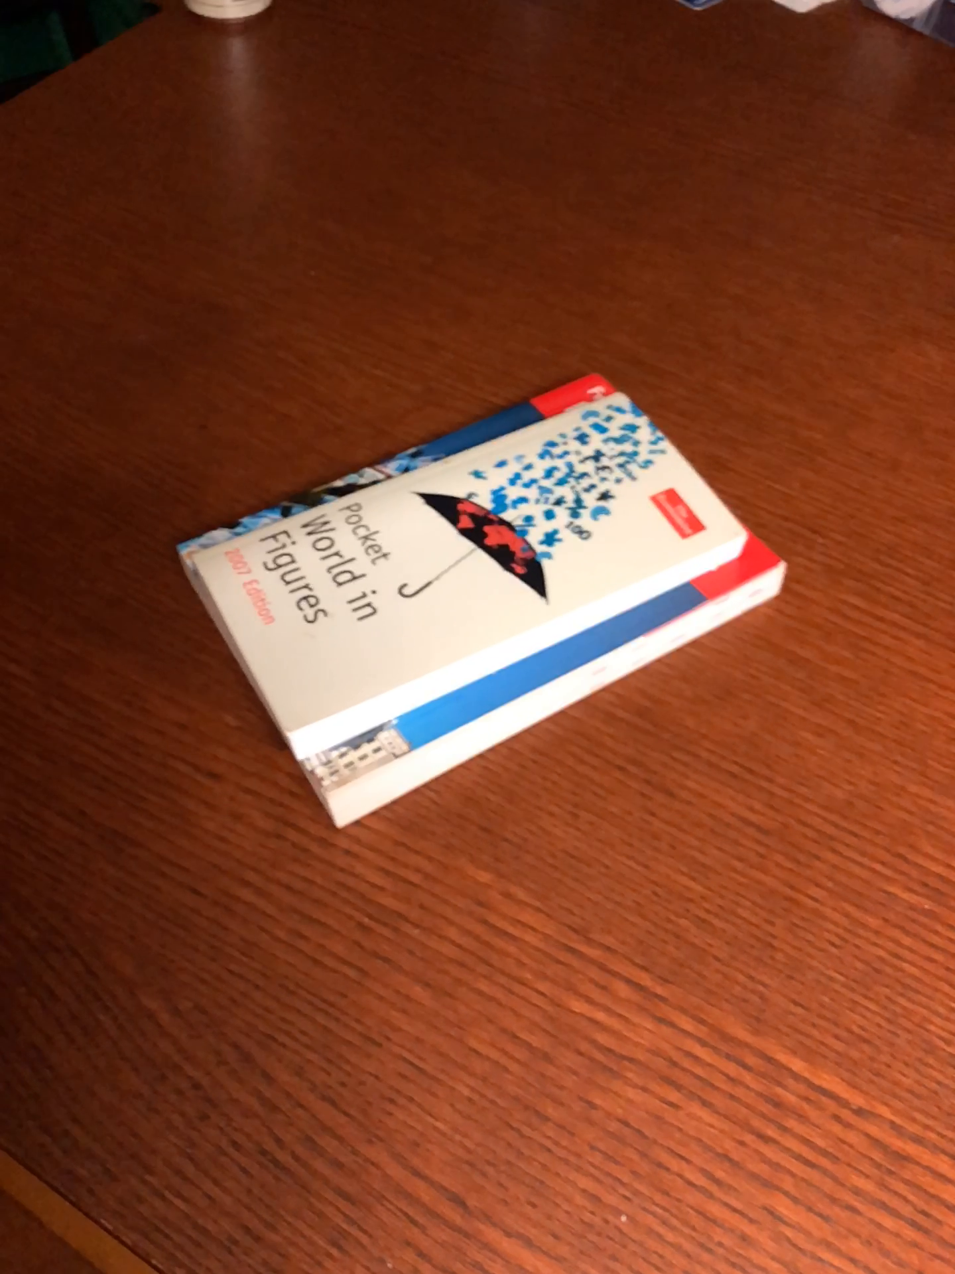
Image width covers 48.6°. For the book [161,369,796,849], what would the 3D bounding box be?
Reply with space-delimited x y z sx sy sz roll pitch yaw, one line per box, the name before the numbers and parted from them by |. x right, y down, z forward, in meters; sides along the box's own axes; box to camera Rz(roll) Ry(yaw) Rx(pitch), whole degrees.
book | 0.000 -0.025 0.428 0.210 0.020 0.140 -26 60 -19

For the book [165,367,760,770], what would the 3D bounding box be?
book | -0.004 -0.035 0.405 0.200 0.020 0.100 -24 59 -18
